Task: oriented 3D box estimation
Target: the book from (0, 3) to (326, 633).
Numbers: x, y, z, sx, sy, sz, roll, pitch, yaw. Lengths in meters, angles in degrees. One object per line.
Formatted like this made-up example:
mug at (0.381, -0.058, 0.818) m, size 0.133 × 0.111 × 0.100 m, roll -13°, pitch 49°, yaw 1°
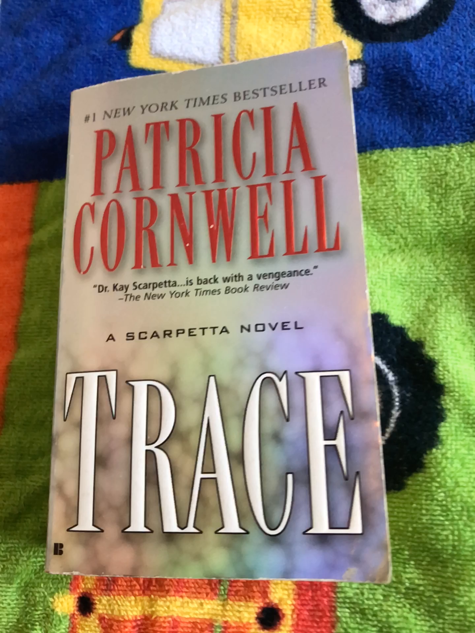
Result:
book at (-0.036, -0.003, 0.178) m, size 0.120 × 0.040 × 0.180 m, roll -3°, pitch 76°, yaw 13°
